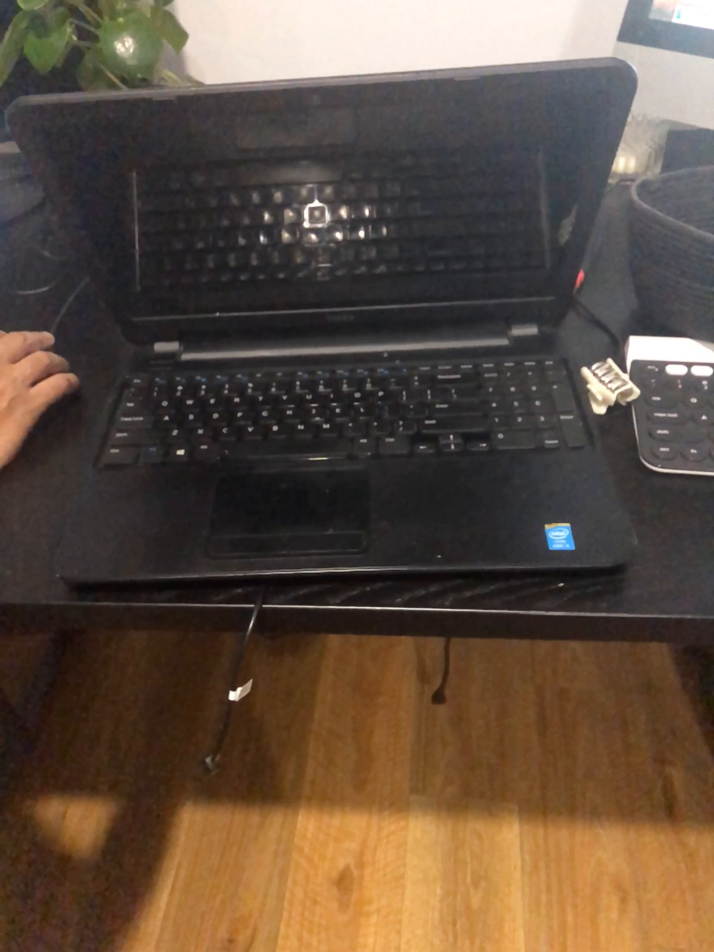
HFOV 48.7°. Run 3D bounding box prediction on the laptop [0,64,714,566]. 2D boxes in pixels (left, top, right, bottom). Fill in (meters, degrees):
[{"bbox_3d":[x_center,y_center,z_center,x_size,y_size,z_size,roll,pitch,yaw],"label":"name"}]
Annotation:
[{"bbox_3d":[-0.024,-0.098,0.496,0.366,0.210,0.207,-1,44,4],"label":"laptop"}]
